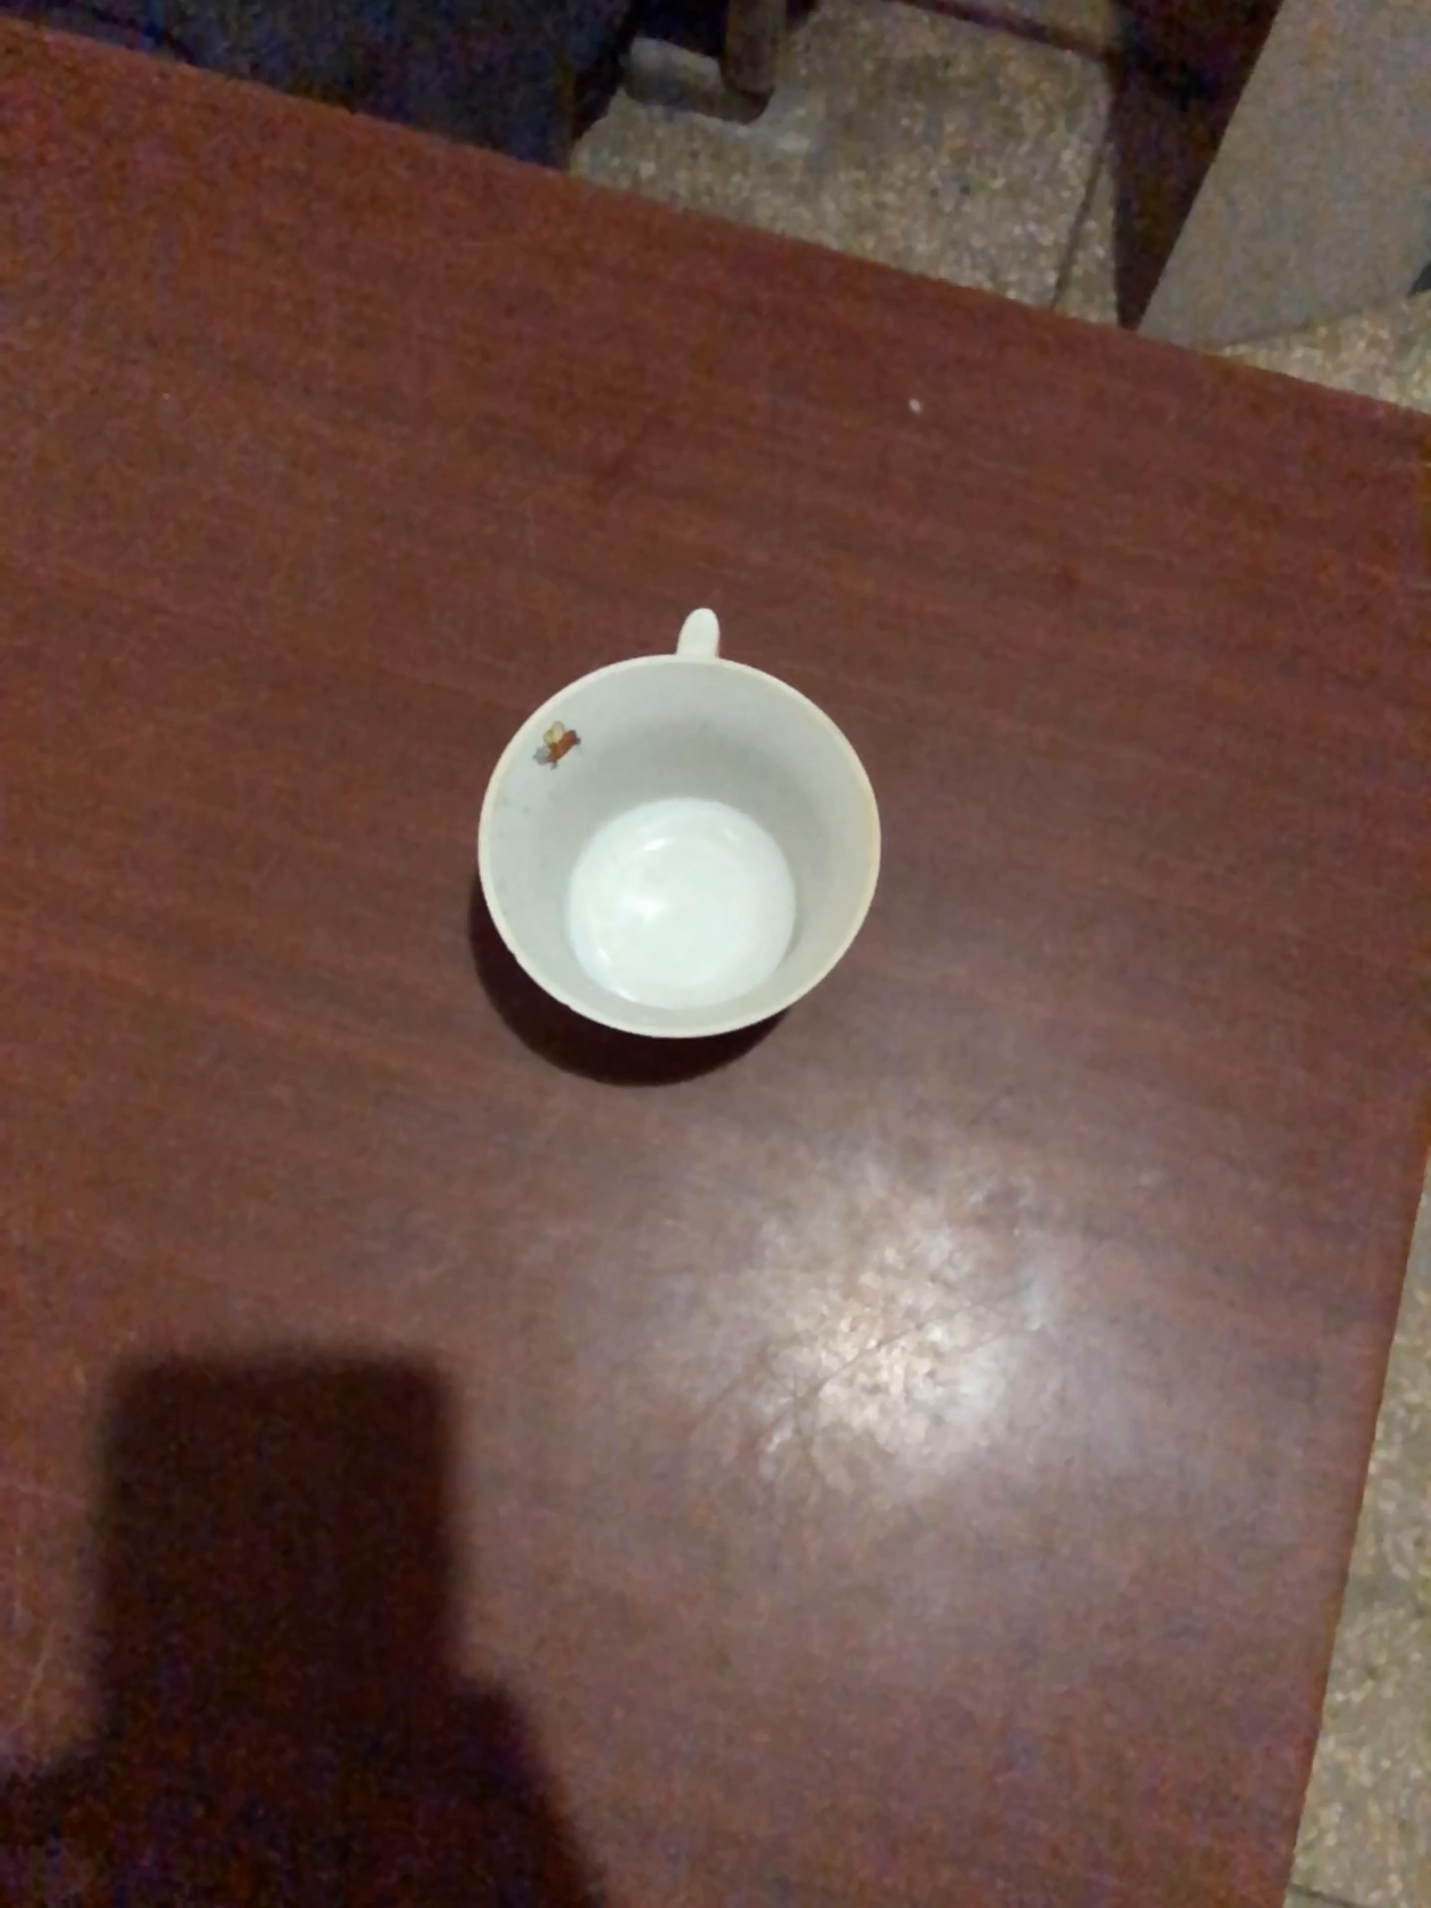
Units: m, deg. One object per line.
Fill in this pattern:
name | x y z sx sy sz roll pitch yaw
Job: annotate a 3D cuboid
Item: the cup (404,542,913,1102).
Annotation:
cup | -0.012 -0.030 0.385 0.100 0.059 0.110 8 76 0
